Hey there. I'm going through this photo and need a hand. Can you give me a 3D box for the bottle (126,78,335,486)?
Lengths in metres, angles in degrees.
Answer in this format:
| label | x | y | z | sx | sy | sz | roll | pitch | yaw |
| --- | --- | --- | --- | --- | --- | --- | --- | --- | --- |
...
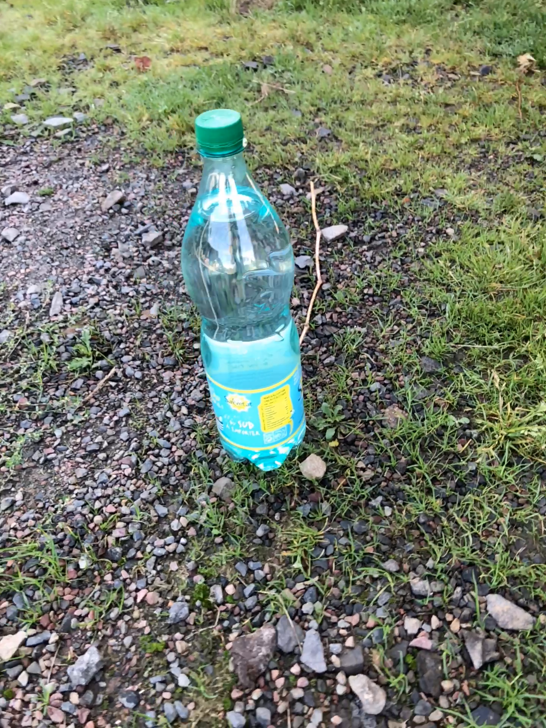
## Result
| label | x | y | z | sx | sy | sz | roll | pitch | yaw |
| --- | --- | --- | --- | --- | --- | --- | --- | --- | --- |
| bottle | -0.019 | -0.044 | 0.471 | 0.100 | 0.298 | 0.090 | -18 | 44 | -12 |
